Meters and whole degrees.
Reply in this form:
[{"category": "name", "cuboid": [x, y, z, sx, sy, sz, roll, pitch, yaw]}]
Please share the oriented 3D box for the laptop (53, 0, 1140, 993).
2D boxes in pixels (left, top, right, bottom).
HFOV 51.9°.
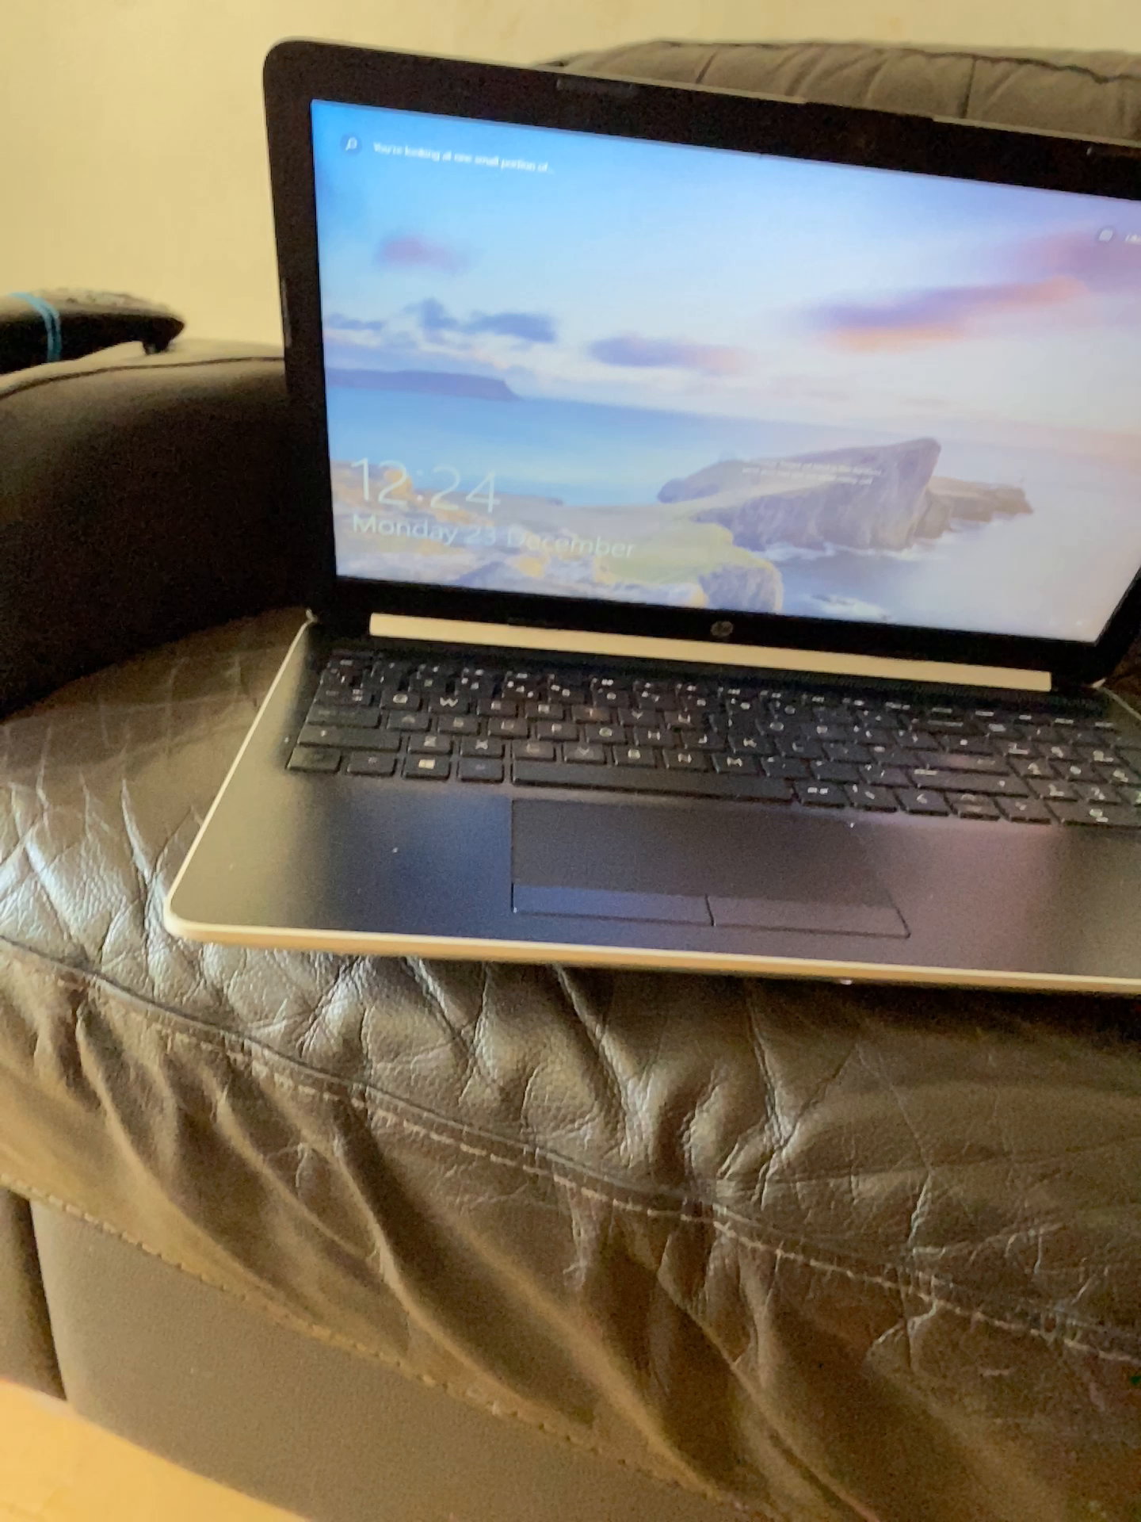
[{"category": "laptop", "cuboid": [0.075, -0.094, 0.391, 0.371, 0.212, 0.238, 3, 24, -4]}]
